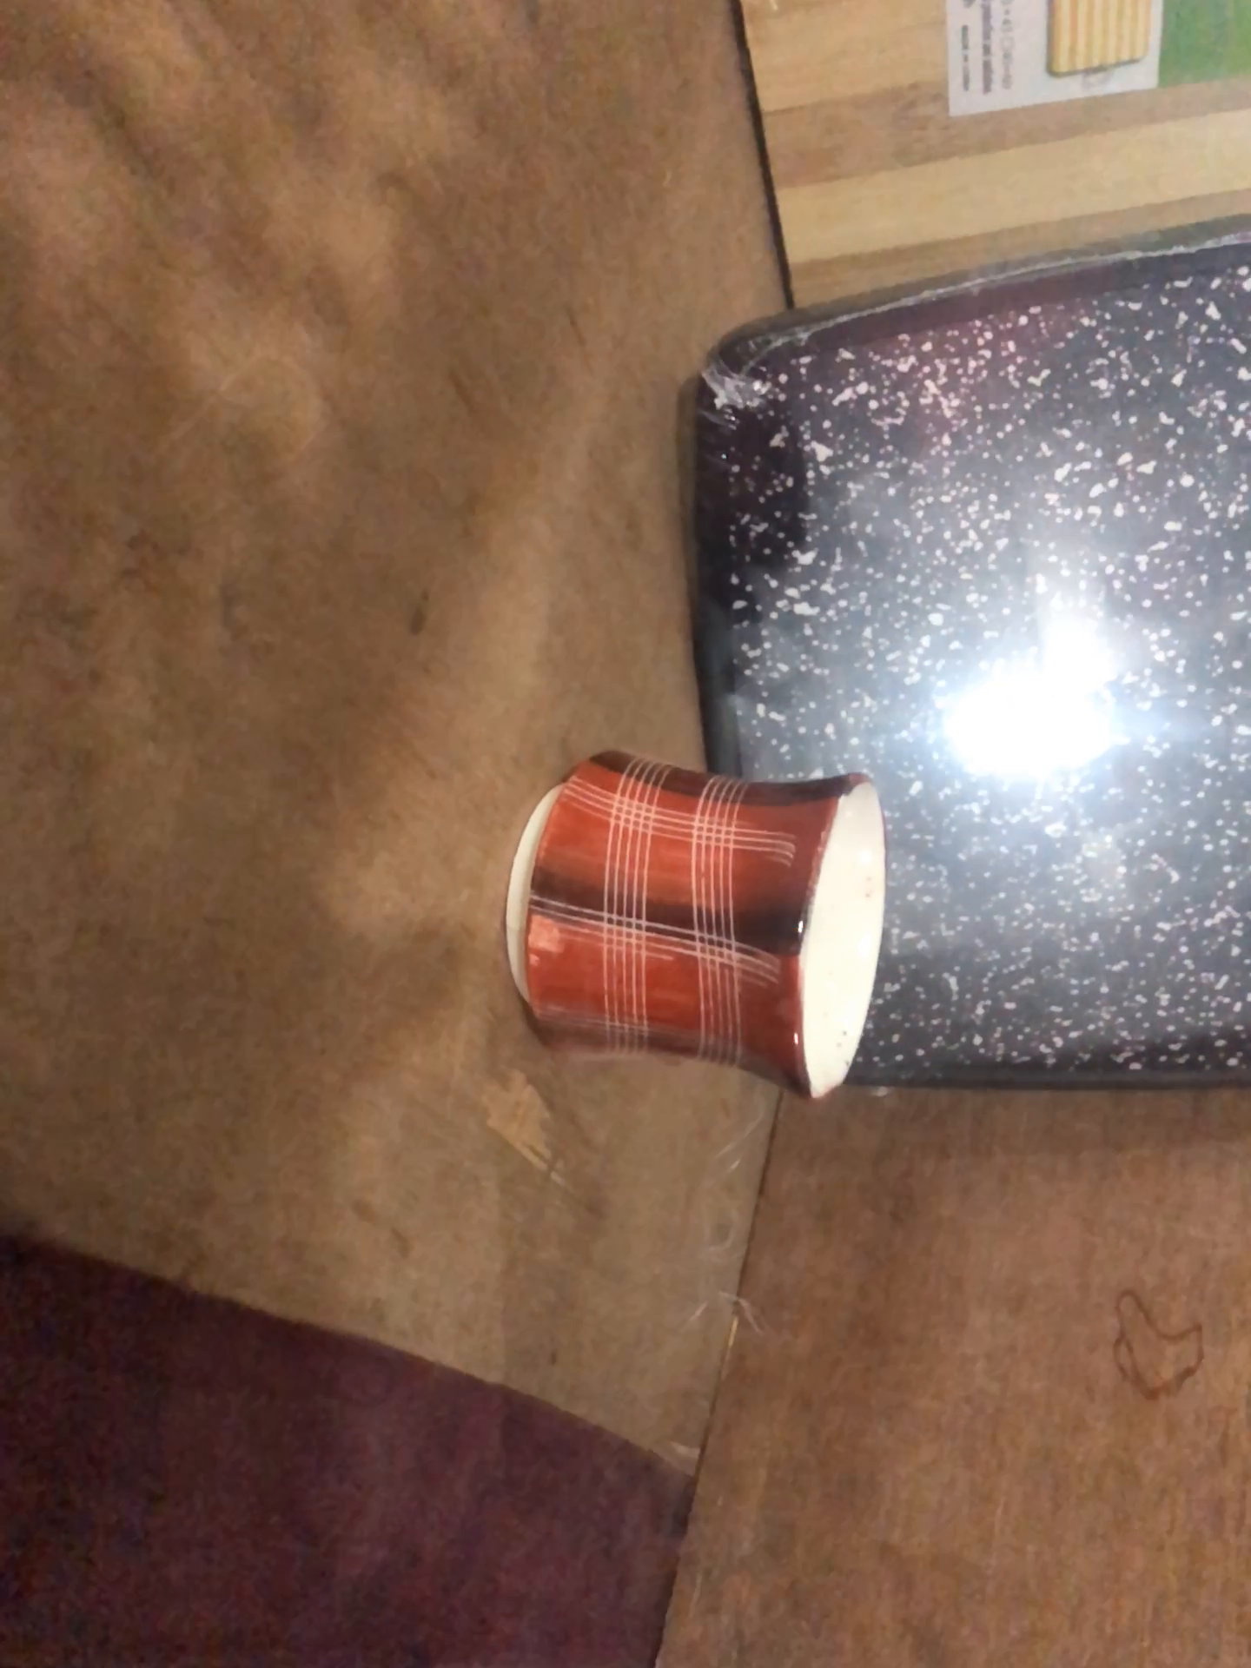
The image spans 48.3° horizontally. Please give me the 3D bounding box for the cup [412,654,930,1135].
[{"bbox_3d":[0.015,0.015,0.263,0.091,0.060,0.060,43,57,-61],"label":"cup"}]
